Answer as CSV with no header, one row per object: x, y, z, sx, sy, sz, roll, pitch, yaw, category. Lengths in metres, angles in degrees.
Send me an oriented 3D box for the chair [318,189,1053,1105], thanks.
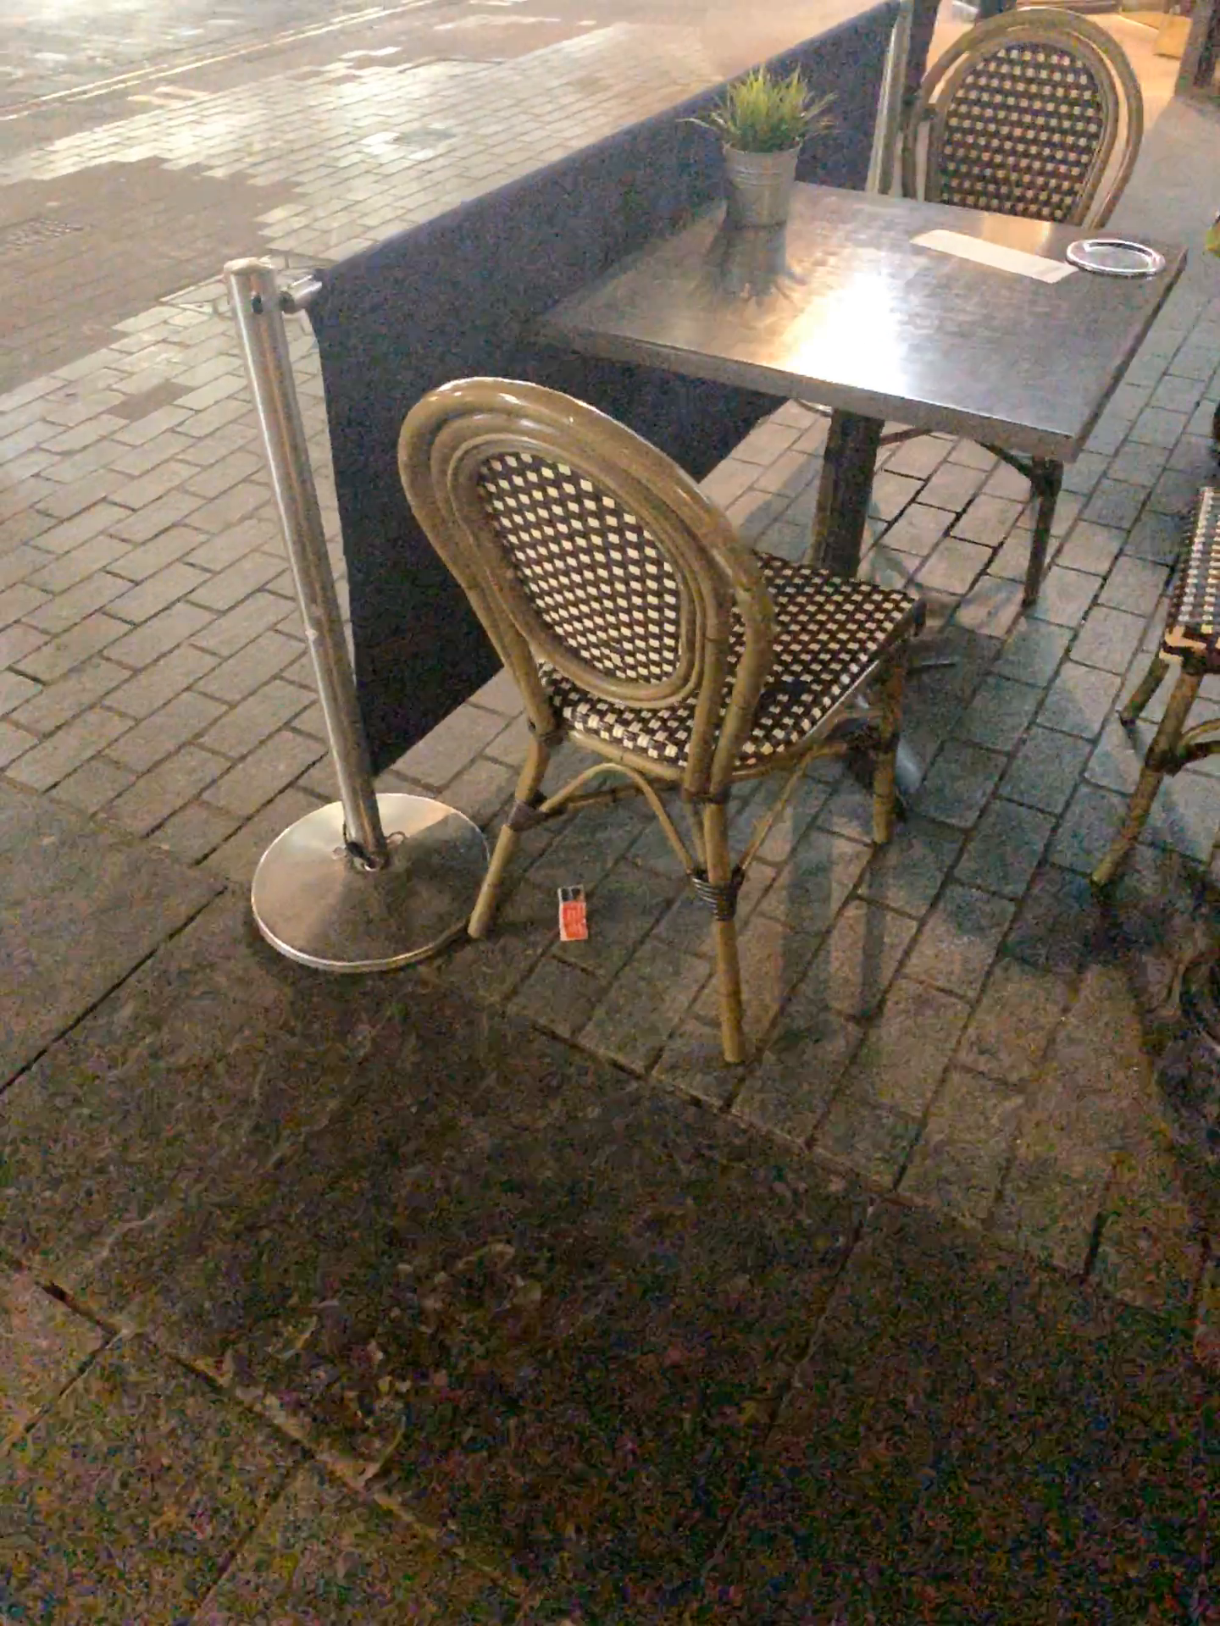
0.102,-0.211,1.496,0.511,0.792,0.604,22,46,22,chair
